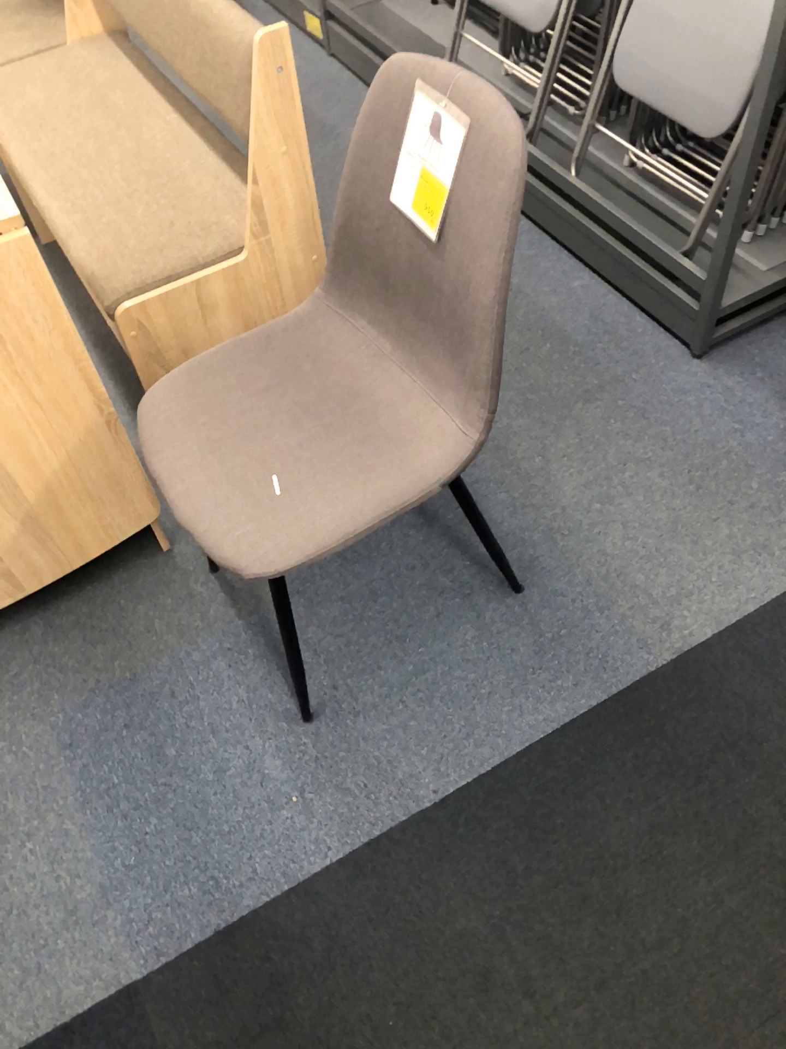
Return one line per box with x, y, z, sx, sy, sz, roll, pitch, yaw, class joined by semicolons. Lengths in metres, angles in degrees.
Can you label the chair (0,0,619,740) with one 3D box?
-0.090;-0.184;1.255;0.540;0.807;0.481;-29;55;-15;chair
